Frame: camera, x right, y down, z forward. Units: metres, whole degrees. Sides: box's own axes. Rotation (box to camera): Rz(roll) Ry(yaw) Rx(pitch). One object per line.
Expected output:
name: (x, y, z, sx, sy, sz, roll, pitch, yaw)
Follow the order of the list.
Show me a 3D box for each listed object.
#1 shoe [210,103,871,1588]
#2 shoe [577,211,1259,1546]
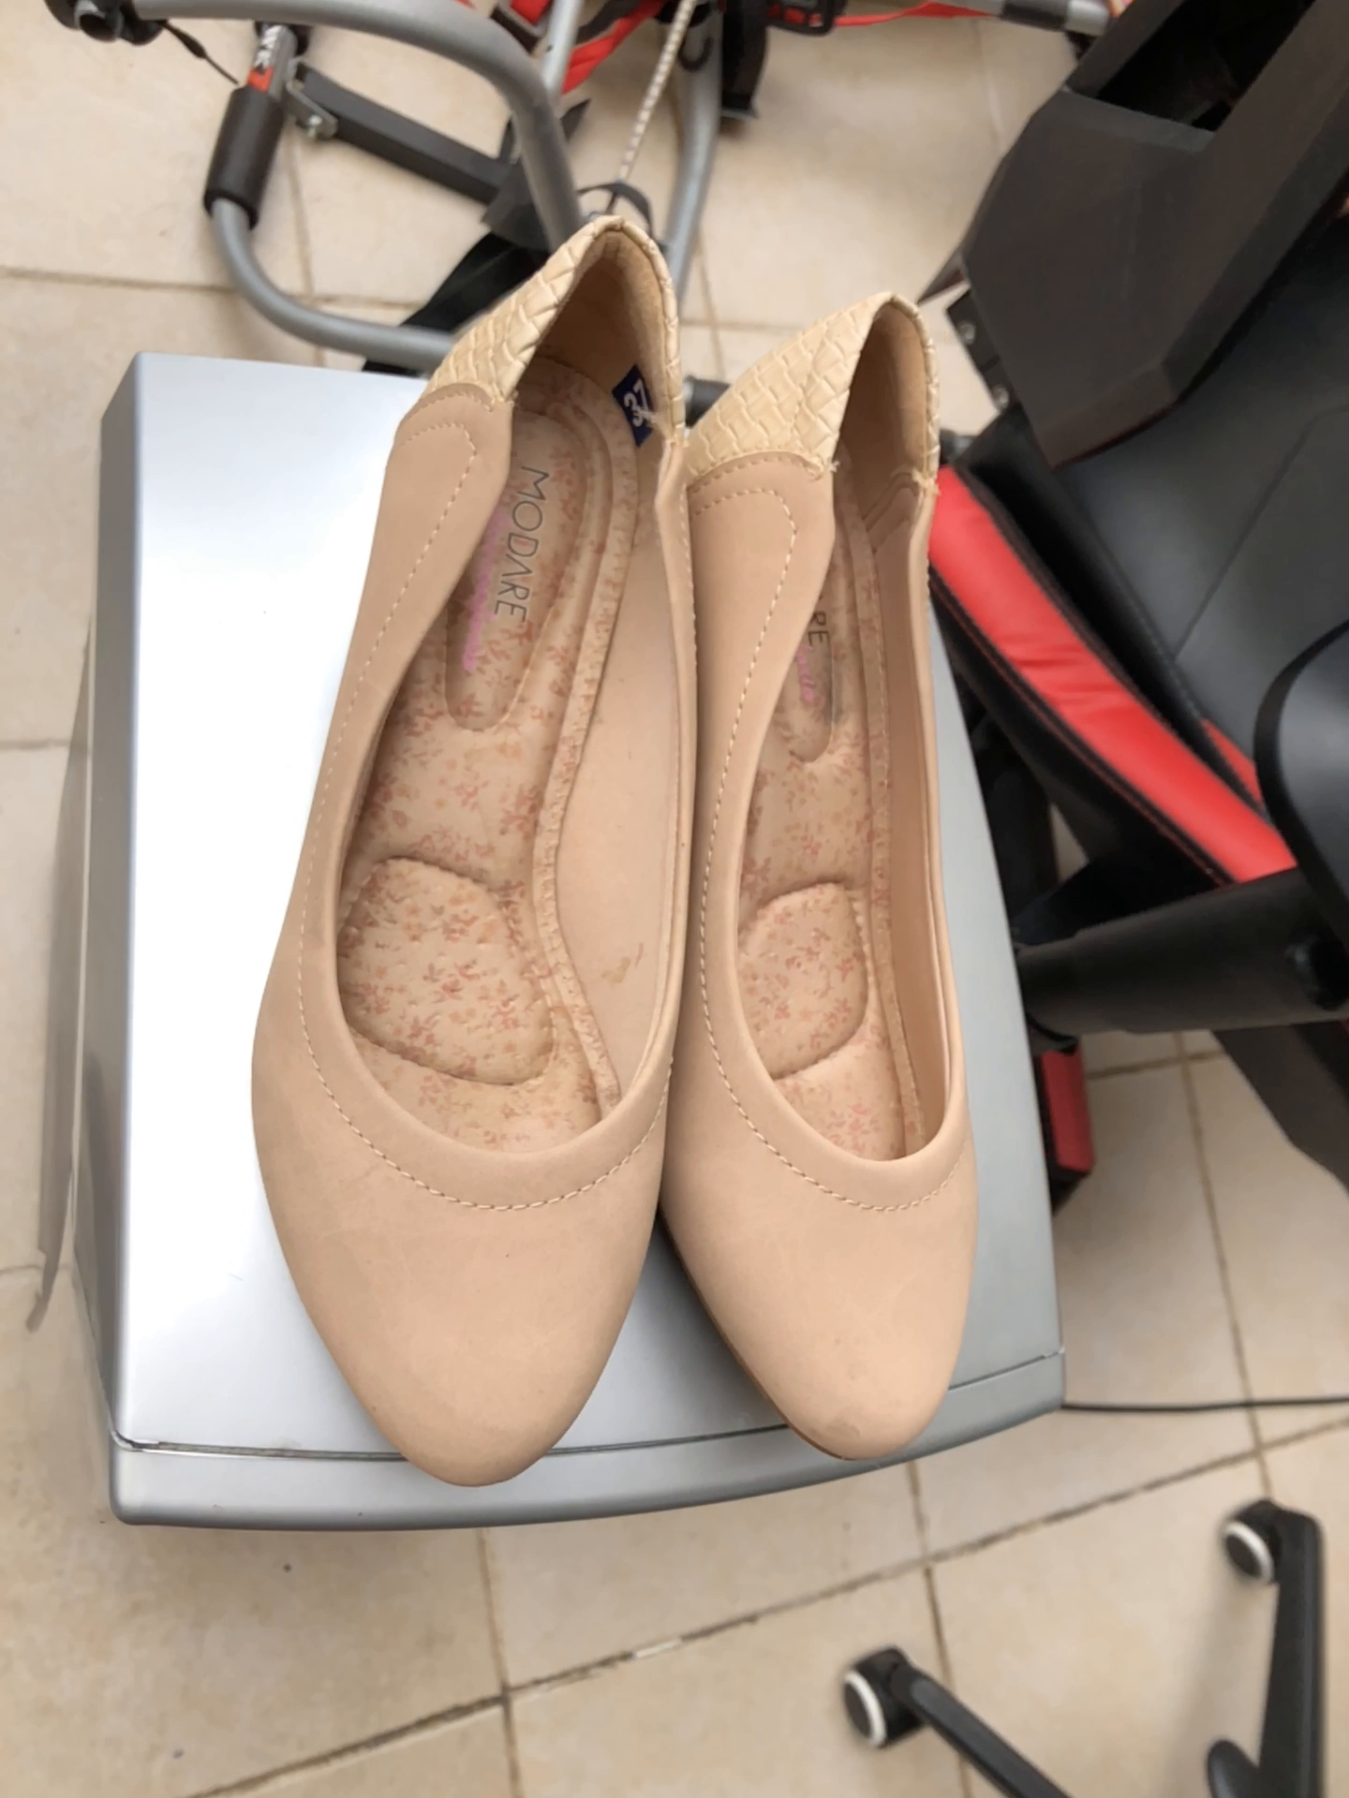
shoe: (-0.031, -0.006, 0.310, 0.090, 0.120, 0.244, 7, 78, -22)
shoe: (0.042, -0.001, 0.341, 0.090, 0.120, 0.244, 2, 80, -23)
